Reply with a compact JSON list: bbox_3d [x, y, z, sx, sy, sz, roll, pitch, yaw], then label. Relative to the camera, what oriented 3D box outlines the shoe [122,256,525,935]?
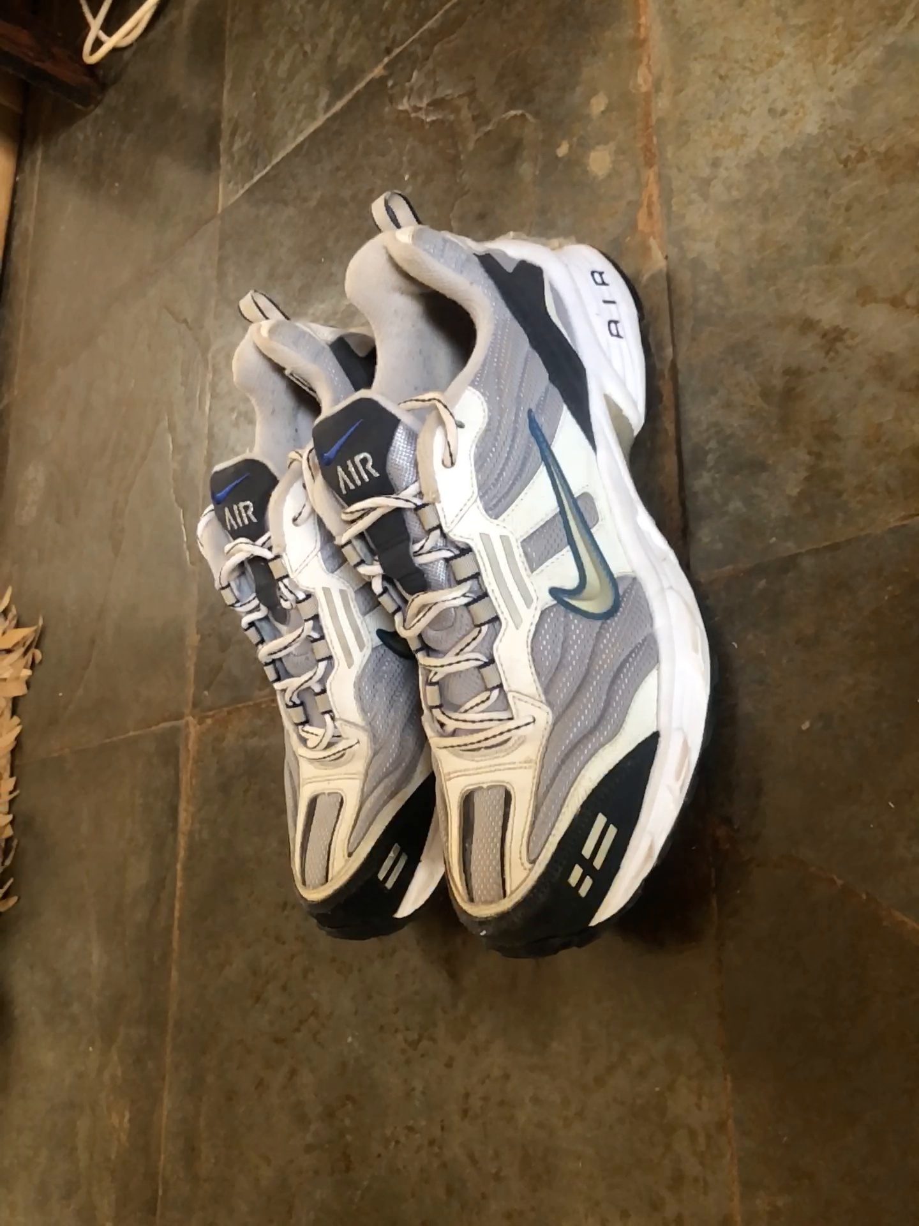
[{"bbox_3d":[-0.057,0.004,0.449,0.110,0.119,0.260,-18,67,43],"label":"shoe"}]

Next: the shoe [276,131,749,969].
[{"bbox_3d":[0.014,-0.012,0.371,0.110,0.109,0.260,-18,67,43],"label":"shoe"}]
